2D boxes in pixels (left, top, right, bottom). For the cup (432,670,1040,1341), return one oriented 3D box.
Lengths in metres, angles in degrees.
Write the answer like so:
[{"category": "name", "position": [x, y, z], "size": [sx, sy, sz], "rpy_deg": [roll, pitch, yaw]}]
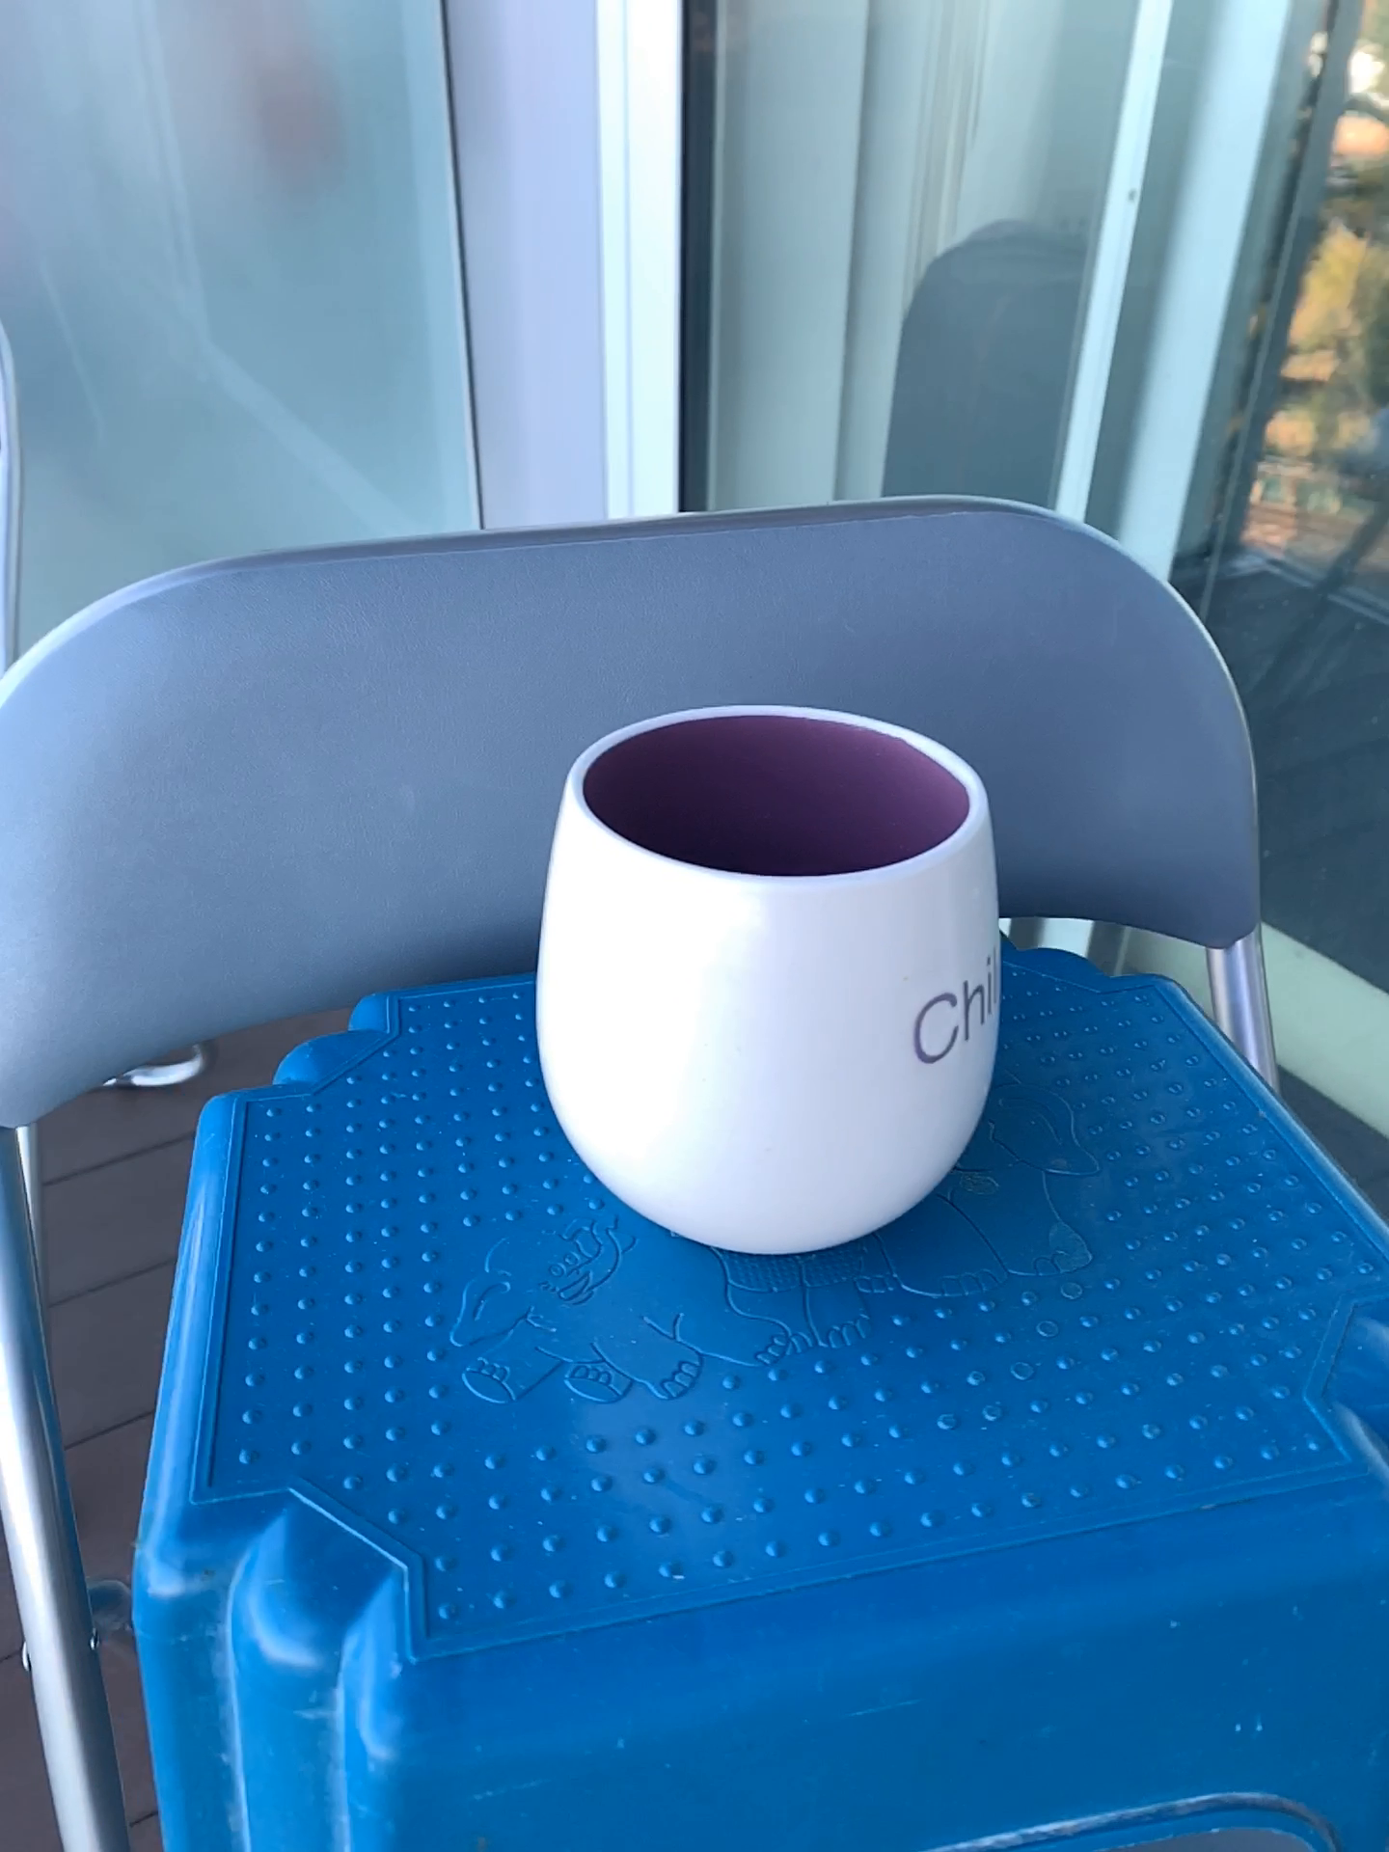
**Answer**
[{"category": "cup", "position": [0.014, 0.010, 0.331], "size": [0.104, 0.090, 0.111], "rpy_deg": [2, 31, -1]}]
